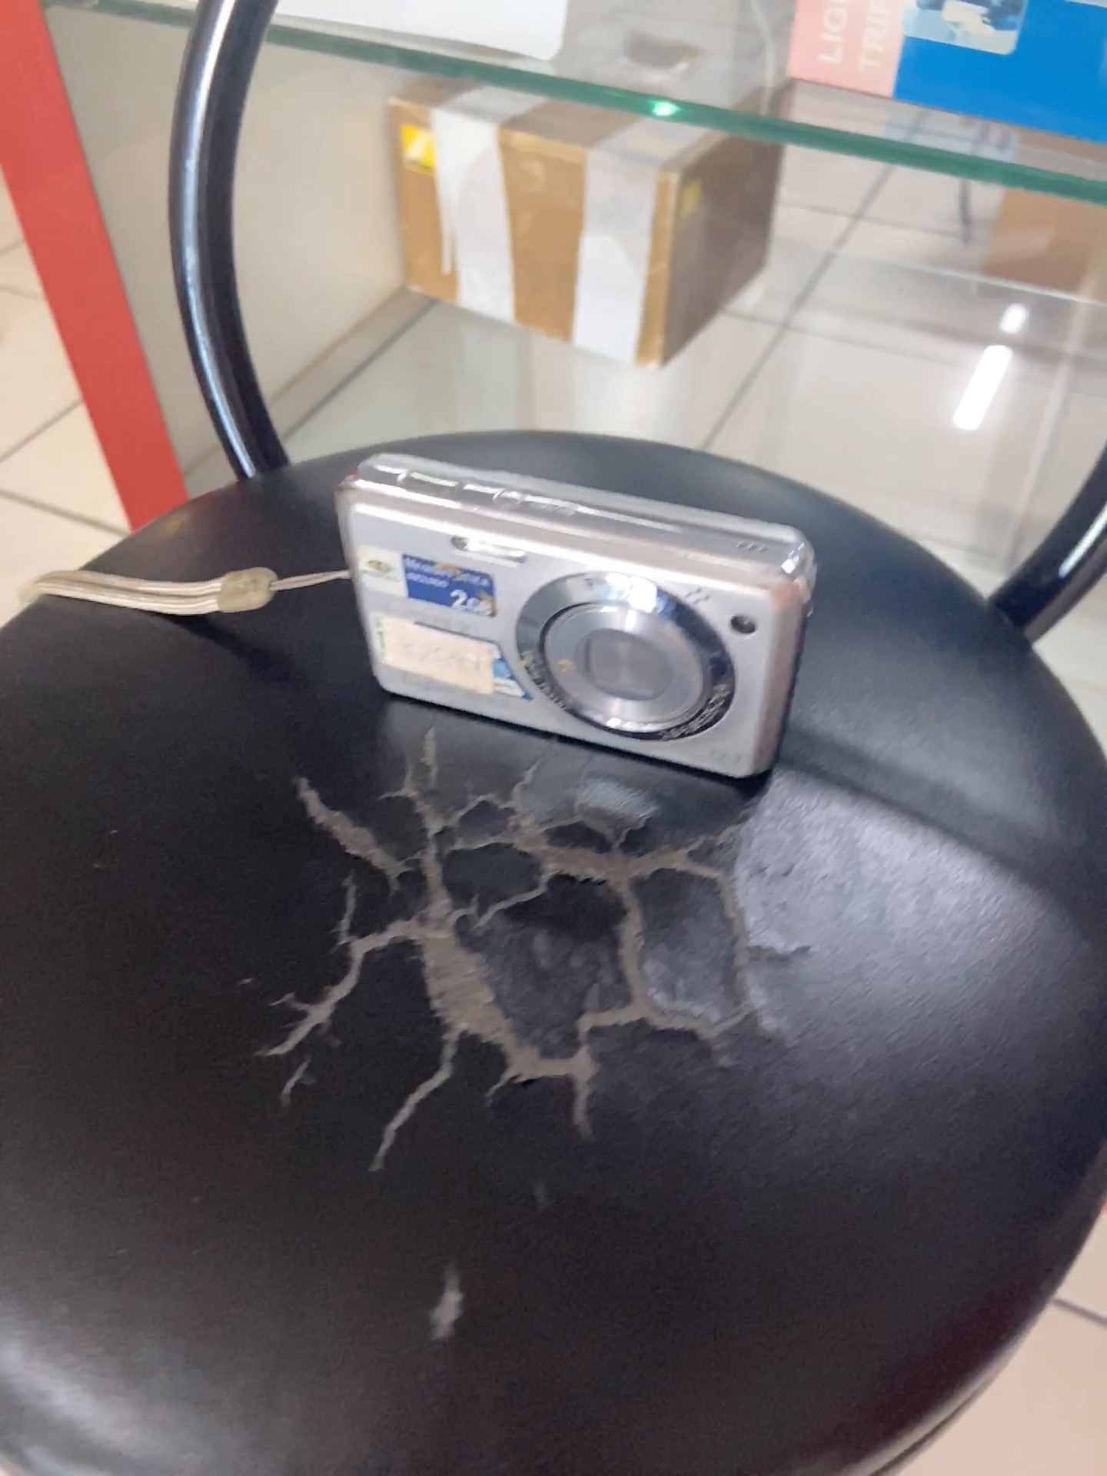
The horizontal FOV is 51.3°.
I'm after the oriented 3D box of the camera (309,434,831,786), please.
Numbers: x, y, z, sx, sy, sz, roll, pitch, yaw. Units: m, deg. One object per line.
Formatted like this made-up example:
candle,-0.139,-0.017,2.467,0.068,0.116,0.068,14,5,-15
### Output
camera,0.003,-0.026,0.229,0.093,0.044,0.026,14,49,13
